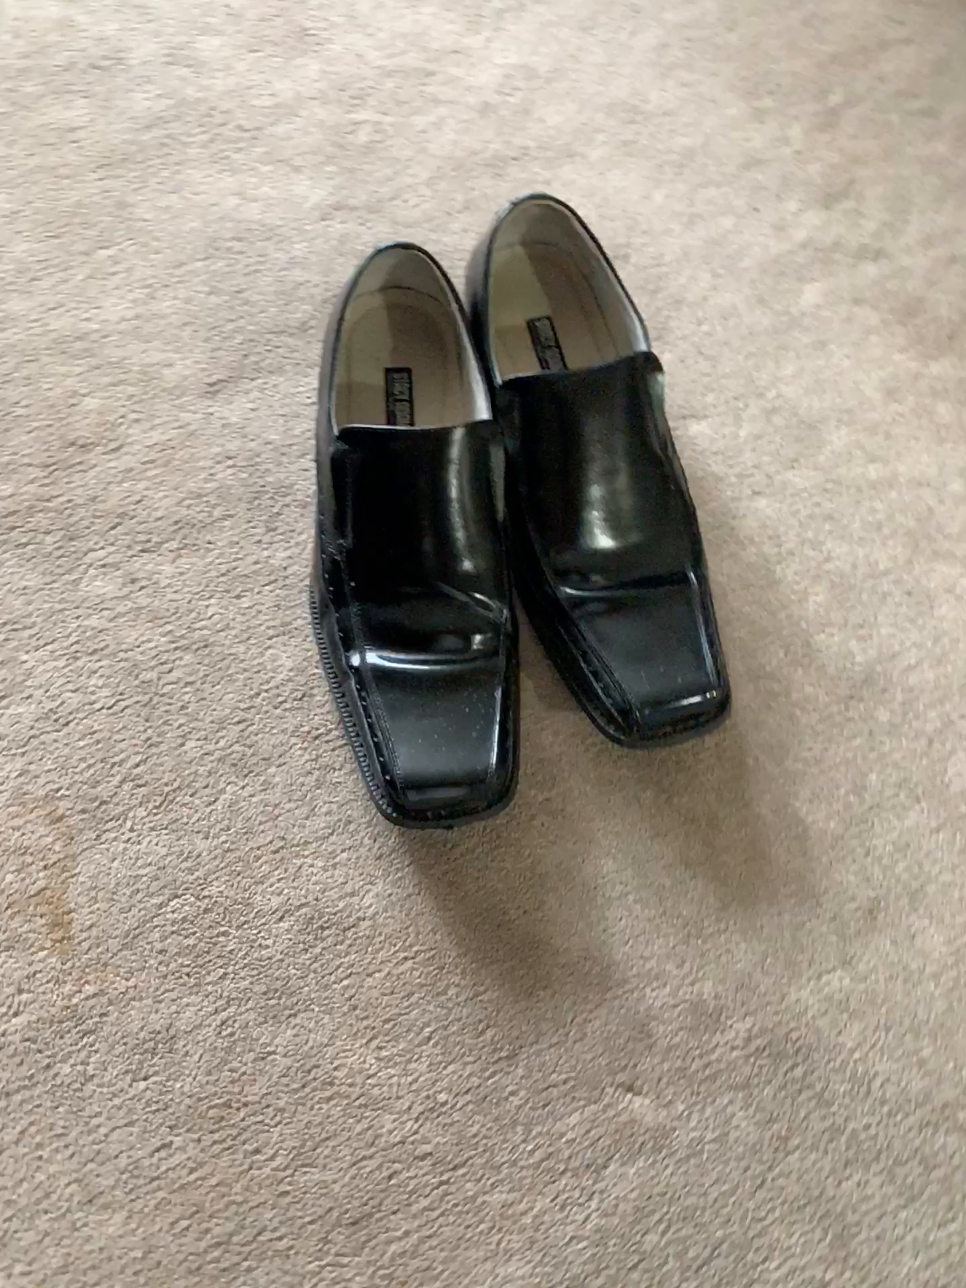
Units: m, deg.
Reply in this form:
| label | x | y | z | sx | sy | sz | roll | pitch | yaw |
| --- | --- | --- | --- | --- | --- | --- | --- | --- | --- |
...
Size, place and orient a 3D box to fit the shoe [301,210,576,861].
| label | x | y | z | sx | sy | sz | roll | pitch | yaw |
| --- | --- | --- | --- | --- | --- | --- | --- | --- | --- |
| shoe | -0.032 | -0.059 | 0.529 | 0.110 | 0.120 | 0.321 | -3 | 70 | -5 |

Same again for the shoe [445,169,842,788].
| label | x | y | z | sx | sy | sz | roll | pitch | yaw |
| --- | --- | --- | --- | --- | --- | --- | --- | --- | --- |
| shoe | 0.071 | -0.093 | 0.558 | 0.110 | 0.120 | 0.311 | -12 | 71 | -9 |
